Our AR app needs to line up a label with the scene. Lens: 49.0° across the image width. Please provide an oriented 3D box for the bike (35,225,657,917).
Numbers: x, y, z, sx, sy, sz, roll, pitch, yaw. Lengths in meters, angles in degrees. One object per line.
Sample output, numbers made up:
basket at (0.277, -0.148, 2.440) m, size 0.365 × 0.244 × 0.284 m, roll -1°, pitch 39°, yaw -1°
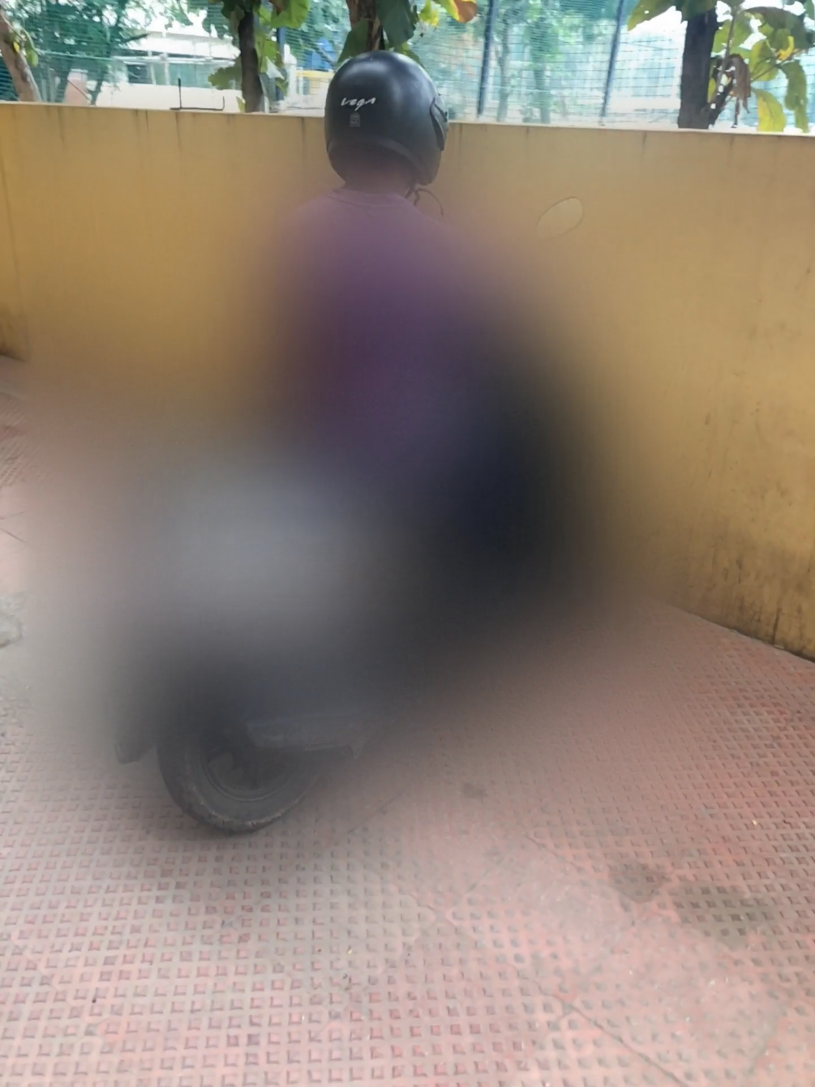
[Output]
bike at (-0.013, -0.151, 2.444) m, size 0.645 × 1.182 × 1.720 m, roll 18°, pitch 30°, yaw 31°
